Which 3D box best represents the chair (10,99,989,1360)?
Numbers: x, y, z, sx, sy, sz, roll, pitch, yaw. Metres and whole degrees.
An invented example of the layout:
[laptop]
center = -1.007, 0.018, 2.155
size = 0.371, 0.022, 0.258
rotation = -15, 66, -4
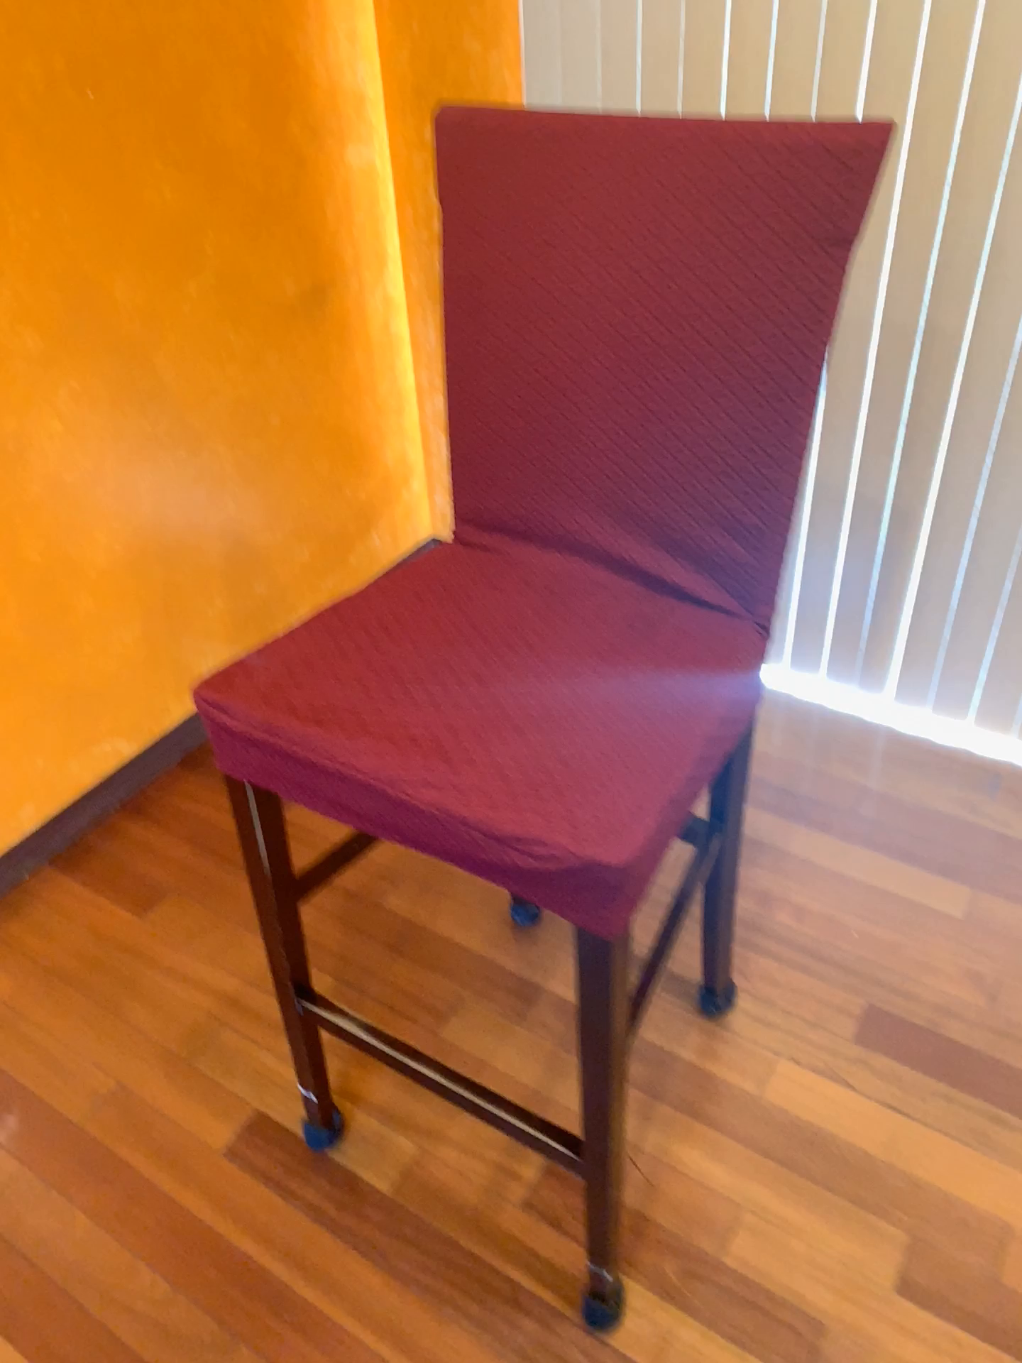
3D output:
[chair]
center = 0.044, 0.060, 1.021
size = 0.472, 1.026, 0.504
rotation = 18, 41, 27
